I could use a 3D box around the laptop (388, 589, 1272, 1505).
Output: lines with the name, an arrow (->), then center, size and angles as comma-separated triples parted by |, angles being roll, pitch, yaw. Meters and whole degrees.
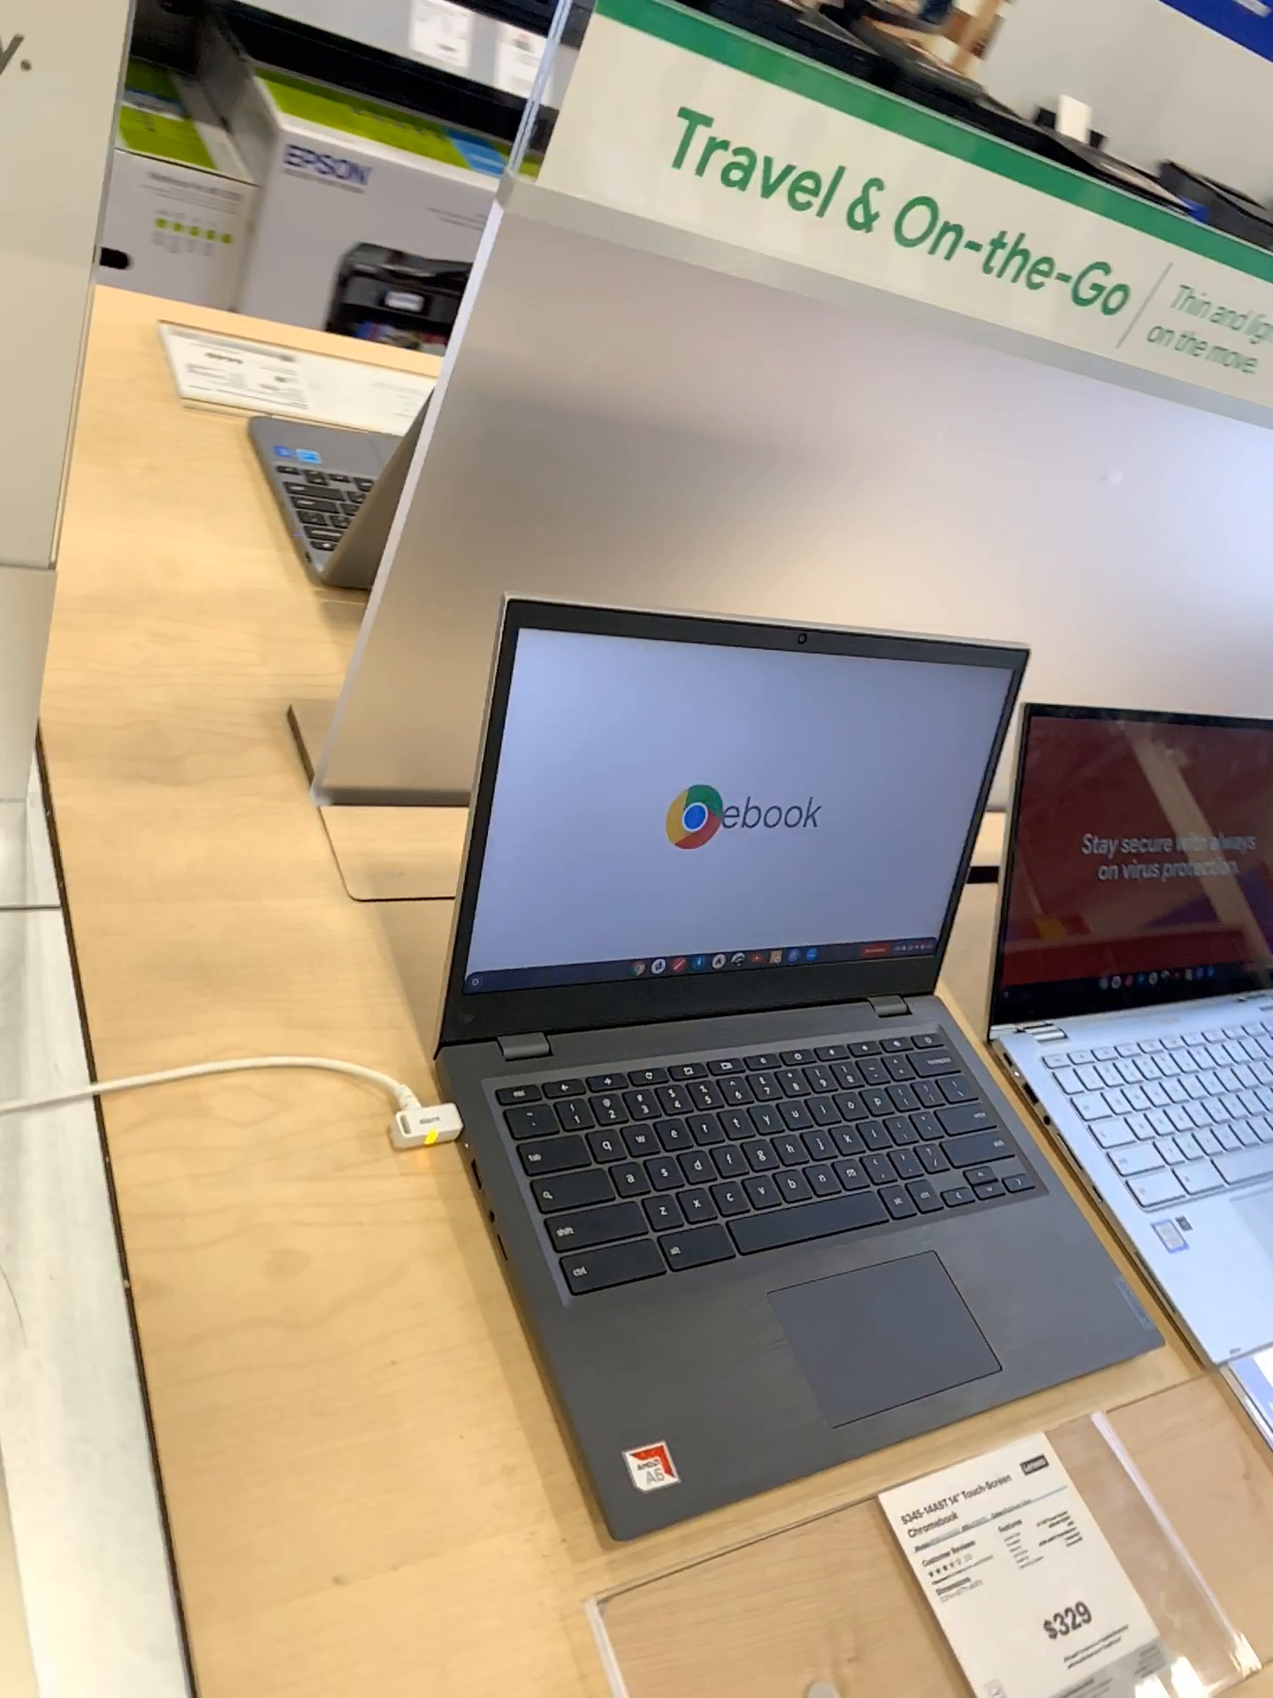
laptop -> 0.101, 0.066, 0.590 | 0.310, 0.188, 0.300 | 0, 46, -33
